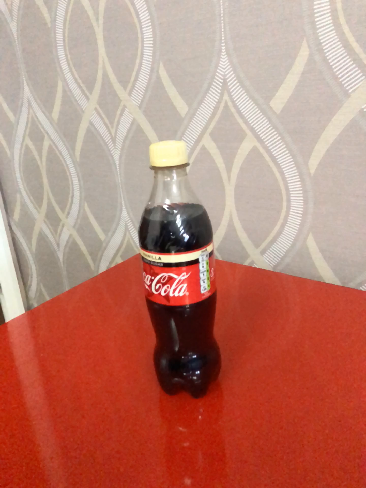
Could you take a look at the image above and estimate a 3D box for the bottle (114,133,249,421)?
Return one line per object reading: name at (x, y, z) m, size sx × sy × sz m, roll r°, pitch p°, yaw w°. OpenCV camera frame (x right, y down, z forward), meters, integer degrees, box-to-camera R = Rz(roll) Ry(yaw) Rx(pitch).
bottle at (0.007, 0.027, 0.368) m, size 0.070 × 0.239 × 0.080 m, roll 12°, pitch 26°, yaw 39°
